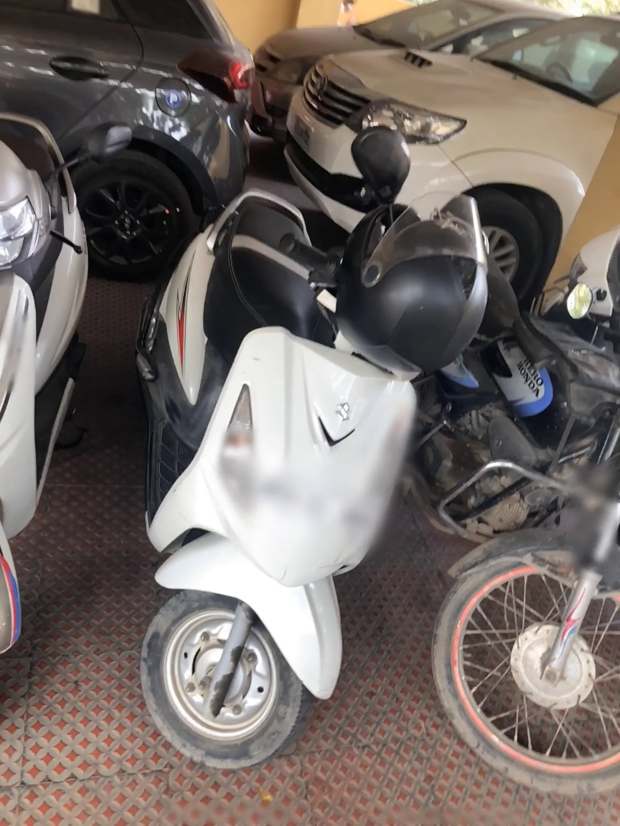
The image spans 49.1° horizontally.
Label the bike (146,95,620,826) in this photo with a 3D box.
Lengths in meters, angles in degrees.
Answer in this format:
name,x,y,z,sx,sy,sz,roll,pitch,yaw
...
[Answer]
name,x,y,z,sx,sy,sz,roll,pitch,yaw
bike,0.086,0.038,1.903,0.832,0.941,1.515,1,44,-23
